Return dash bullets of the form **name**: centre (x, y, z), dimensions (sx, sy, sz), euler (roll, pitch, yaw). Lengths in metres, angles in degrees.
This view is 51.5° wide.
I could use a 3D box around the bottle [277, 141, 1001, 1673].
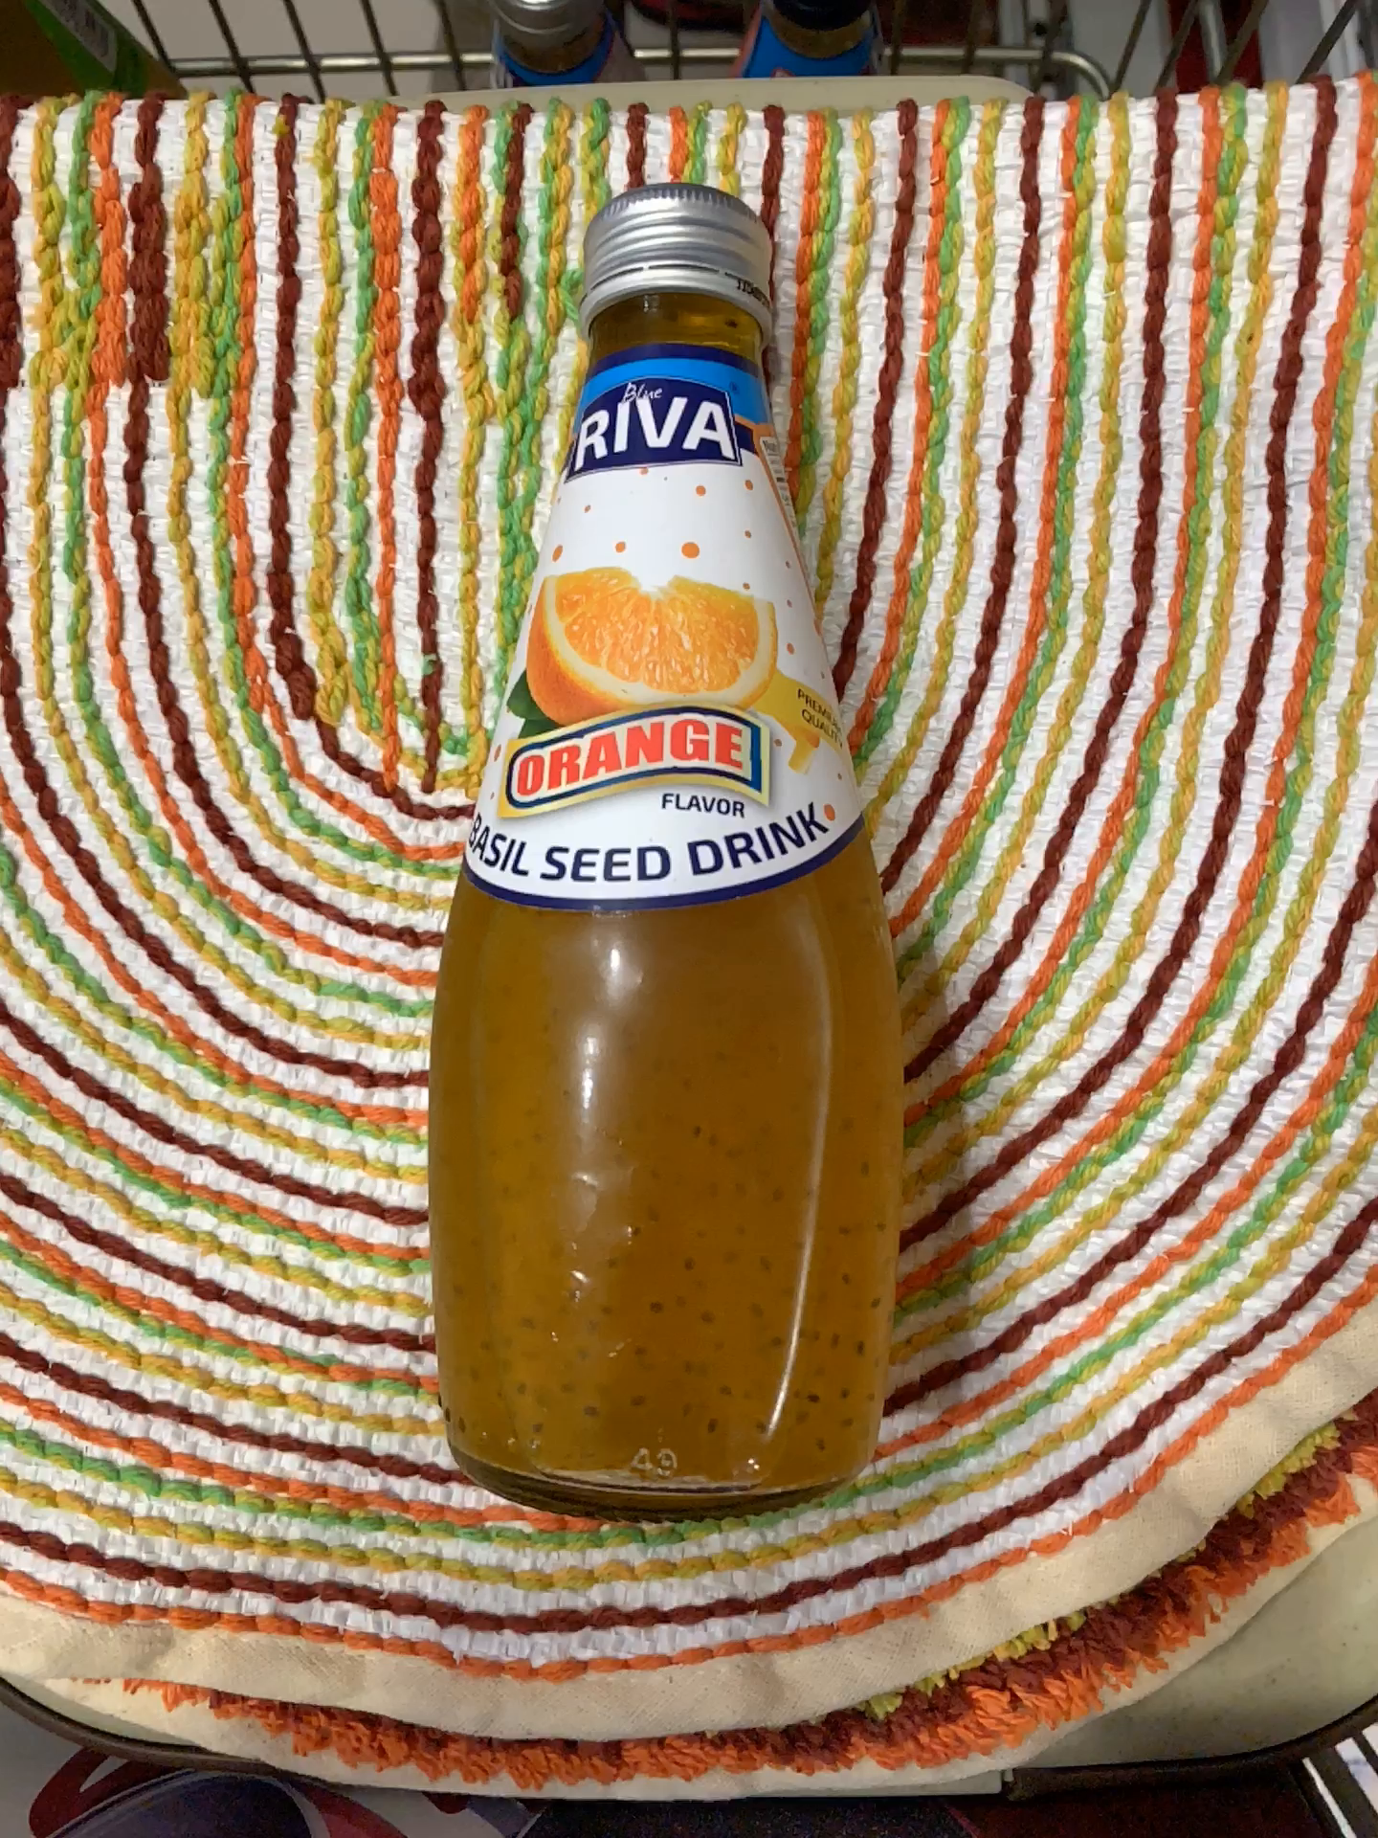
- **bottle**: centre (-0.004, 0.001, 0.175), dimensions (0.070, 0.050, 0.160), euler (0, 99, 4)
